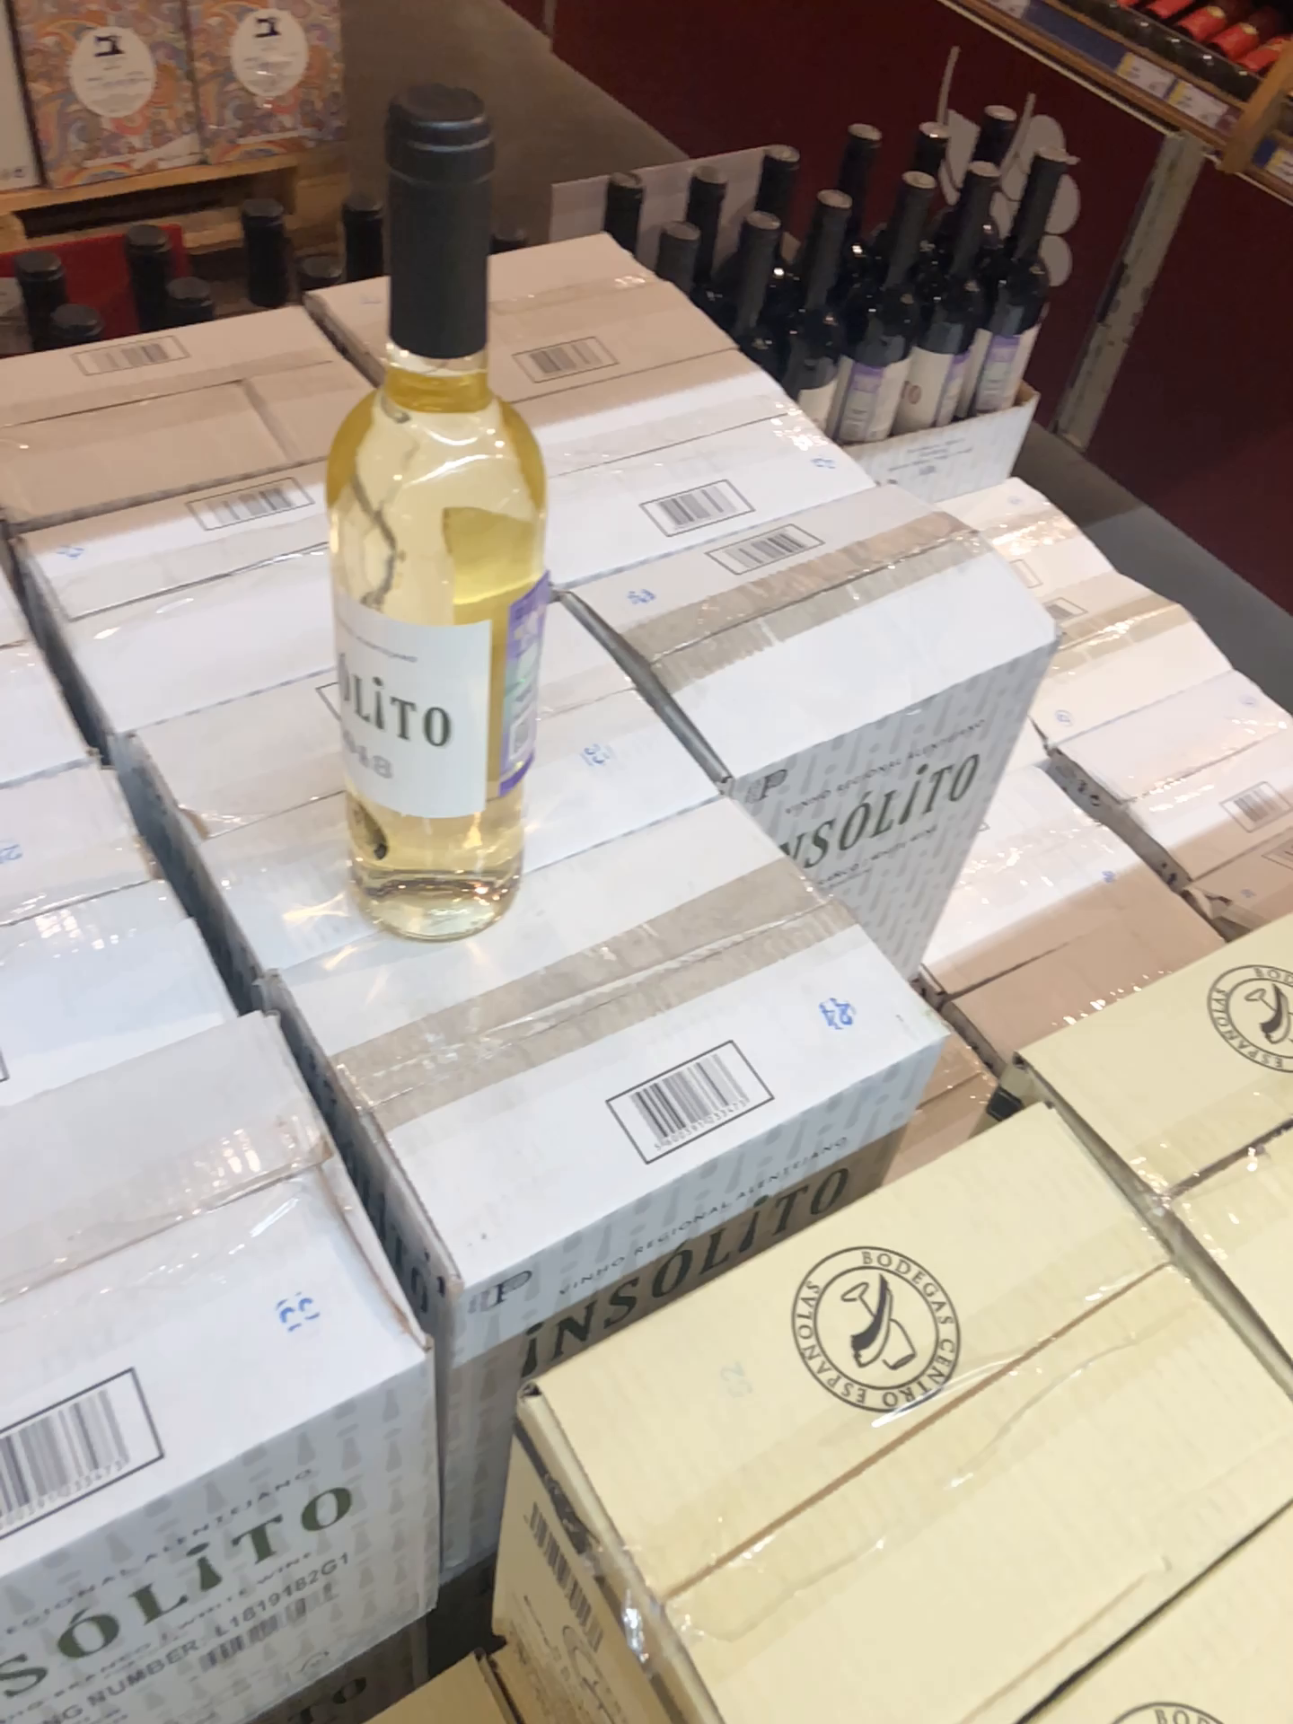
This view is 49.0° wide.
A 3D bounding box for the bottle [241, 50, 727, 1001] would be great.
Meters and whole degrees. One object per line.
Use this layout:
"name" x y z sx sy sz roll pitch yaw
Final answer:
"bottle" -0.060 -0.090 0.479 0.090 0.298 0.090 4 49 -5
